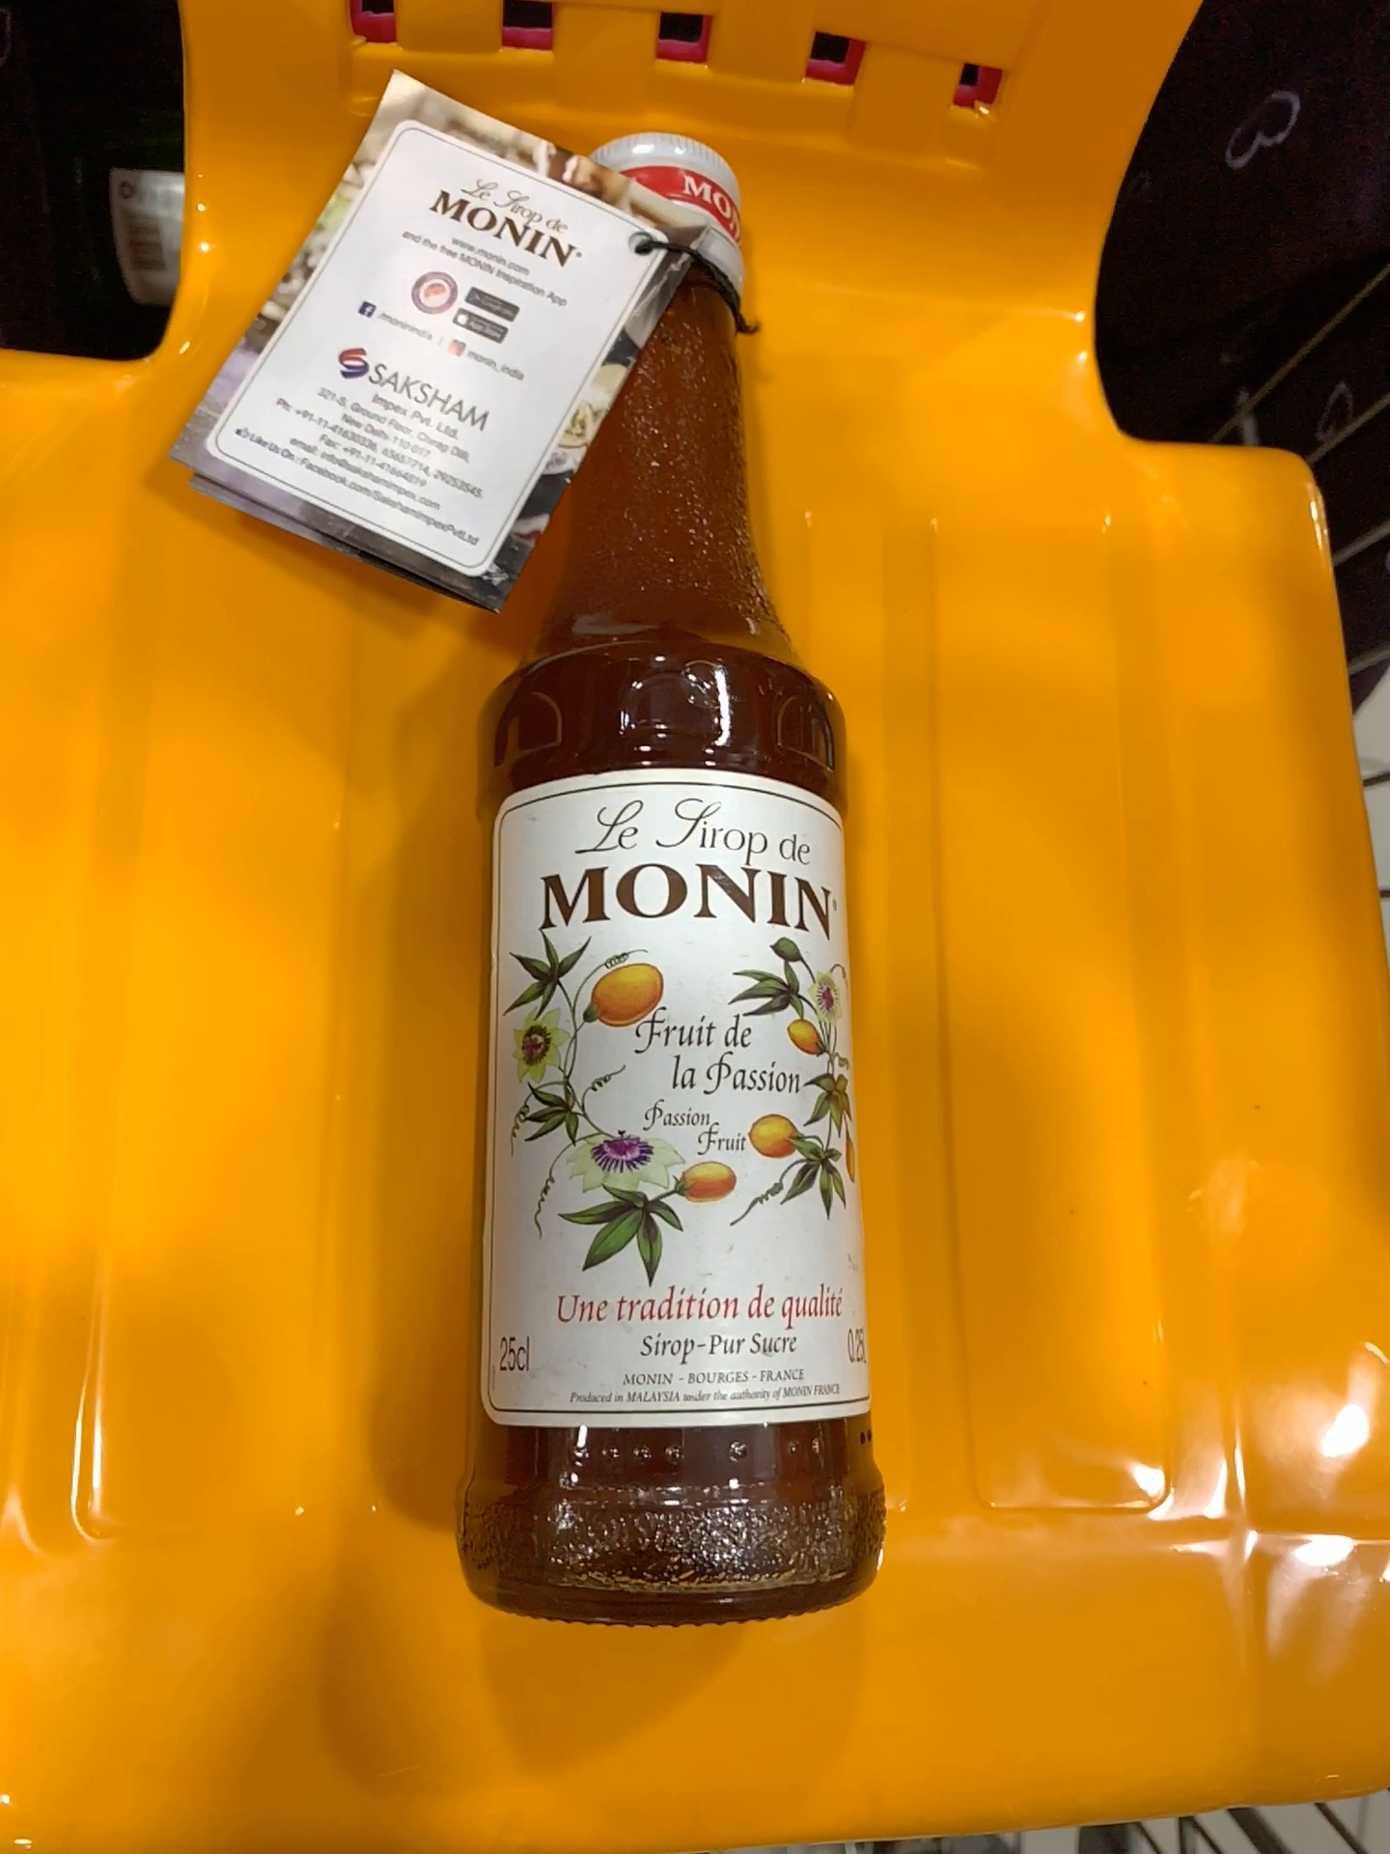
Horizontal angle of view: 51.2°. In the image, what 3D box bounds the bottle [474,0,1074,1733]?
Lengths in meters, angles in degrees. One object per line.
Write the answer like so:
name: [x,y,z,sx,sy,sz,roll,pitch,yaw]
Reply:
bottle: [0.005,-0.023,0.196,0.060,0.060,0.220,2,77,-8]
